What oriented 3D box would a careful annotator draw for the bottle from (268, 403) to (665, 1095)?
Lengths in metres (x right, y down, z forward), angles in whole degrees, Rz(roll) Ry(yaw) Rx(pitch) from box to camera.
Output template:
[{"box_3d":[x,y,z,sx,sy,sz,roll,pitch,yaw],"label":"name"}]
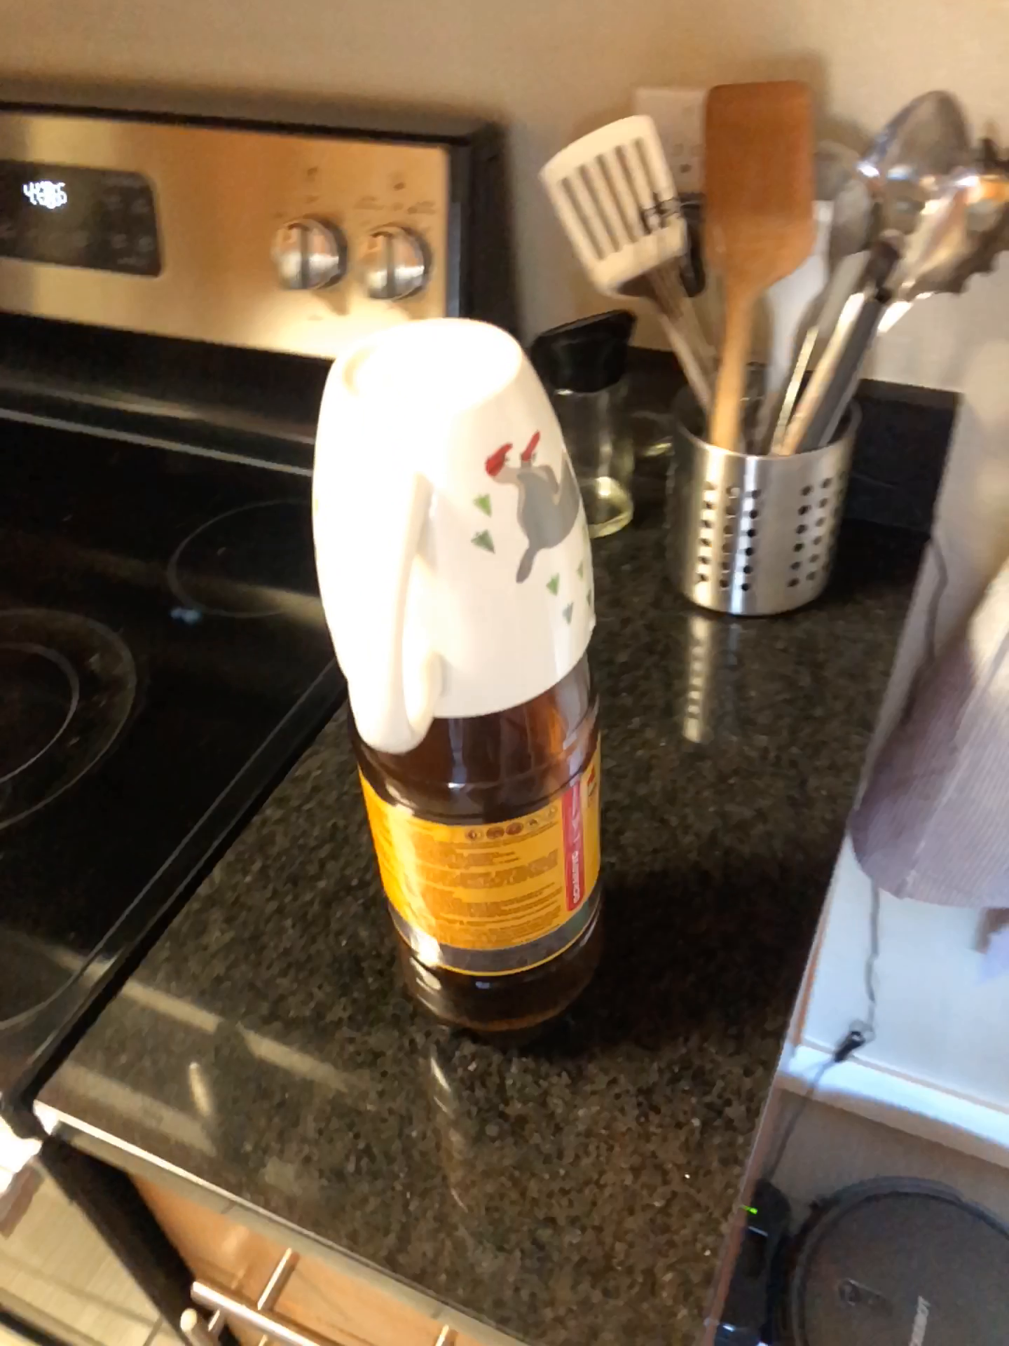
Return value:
[{"box_3d":[-0.006,0.045,0.478,0.100,0.279,0.100,-3,41,3],"label":"bottle"}]
